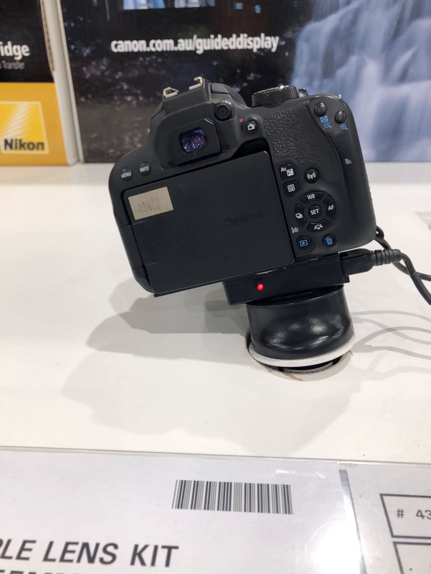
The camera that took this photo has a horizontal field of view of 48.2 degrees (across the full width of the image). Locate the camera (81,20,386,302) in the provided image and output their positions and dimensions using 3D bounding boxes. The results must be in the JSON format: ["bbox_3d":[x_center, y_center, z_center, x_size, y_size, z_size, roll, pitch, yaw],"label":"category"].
[{"bbox_3d":[0.013,-0.064,0.274,0.130,0.105,0.070,-14,9,12],"label":"camera"}]
